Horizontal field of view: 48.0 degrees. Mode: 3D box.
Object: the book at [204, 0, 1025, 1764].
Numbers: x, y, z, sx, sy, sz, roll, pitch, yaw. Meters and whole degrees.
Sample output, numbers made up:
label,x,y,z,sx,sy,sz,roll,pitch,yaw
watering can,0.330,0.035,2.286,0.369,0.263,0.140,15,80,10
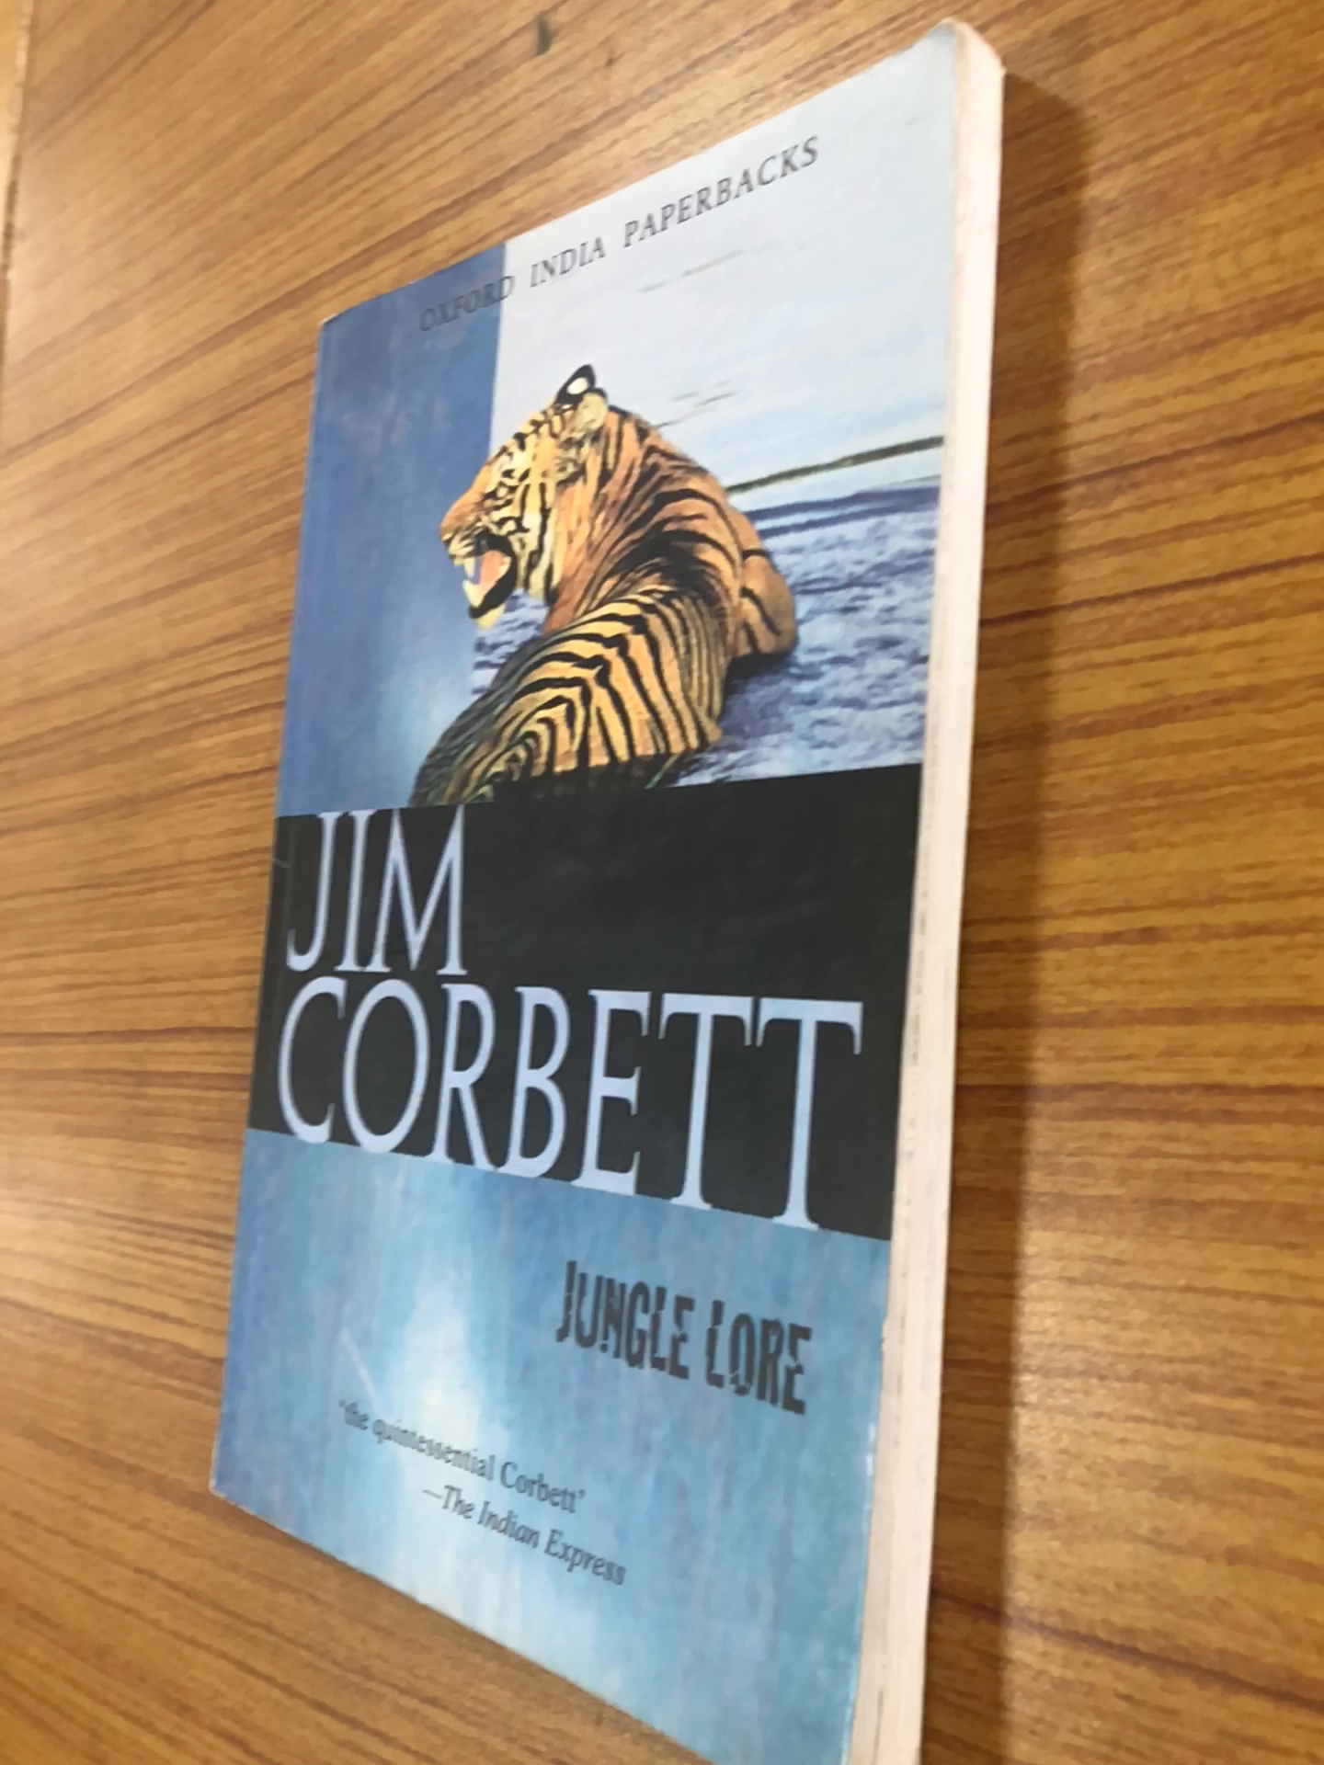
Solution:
label,x,y,z,sx,sy,sz,roll,pitch,yaw
book,-0.018,0.000,0.230,0.151,0.010,0.220,-2,82,43
